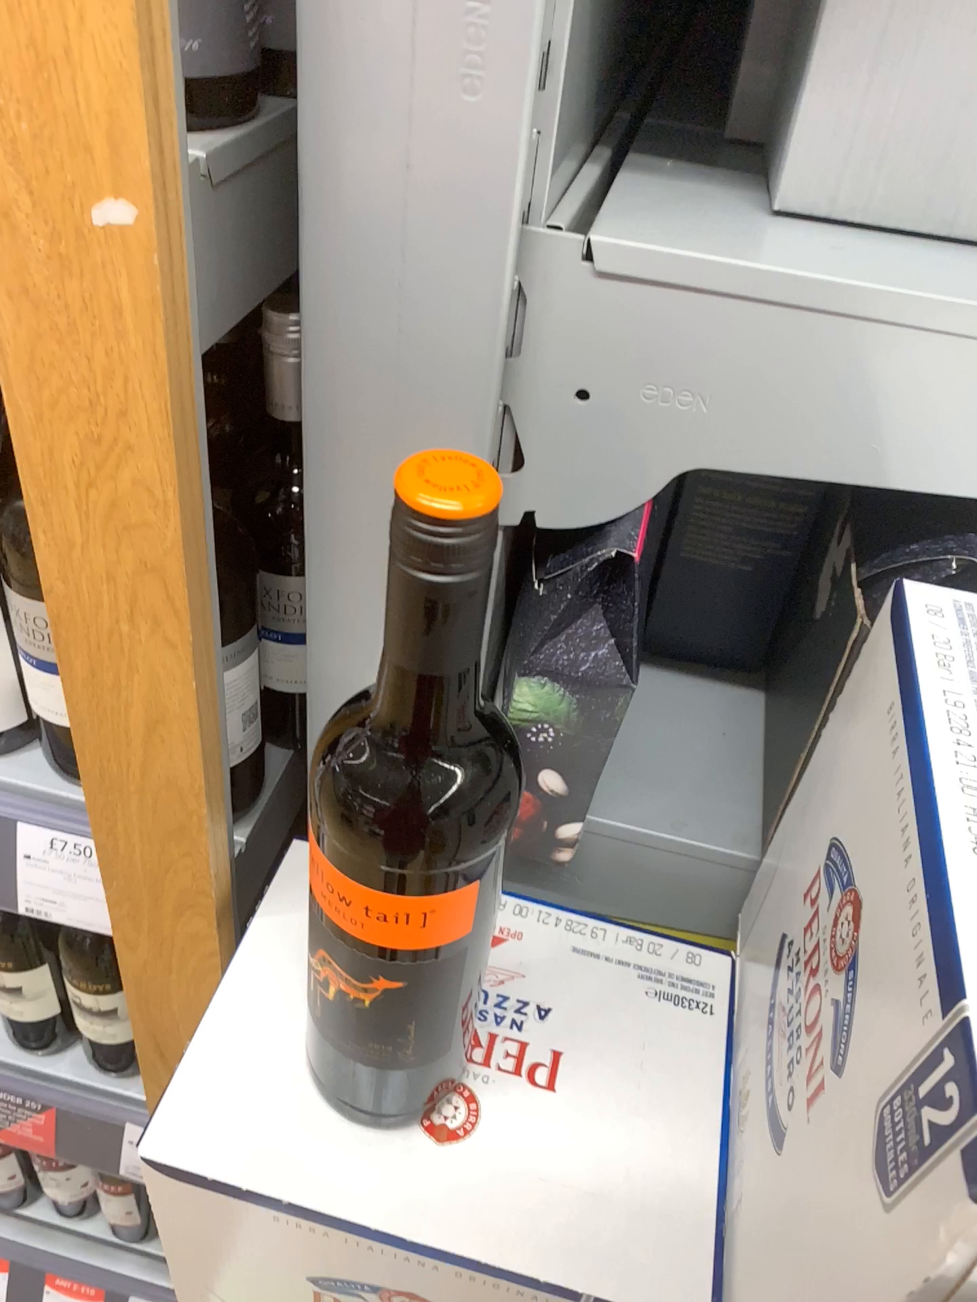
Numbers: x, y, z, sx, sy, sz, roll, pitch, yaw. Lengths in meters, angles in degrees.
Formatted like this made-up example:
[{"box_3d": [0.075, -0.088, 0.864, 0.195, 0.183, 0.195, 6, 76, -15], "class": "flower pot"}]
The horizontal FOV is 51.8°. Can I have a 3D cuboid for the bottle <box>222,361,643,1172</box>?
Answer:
[{"box_3d": [-0.029, 0.062, 0.354, 0.078, 0.297, 0.077, 5, 40, -4], "class": "bottle"}]
